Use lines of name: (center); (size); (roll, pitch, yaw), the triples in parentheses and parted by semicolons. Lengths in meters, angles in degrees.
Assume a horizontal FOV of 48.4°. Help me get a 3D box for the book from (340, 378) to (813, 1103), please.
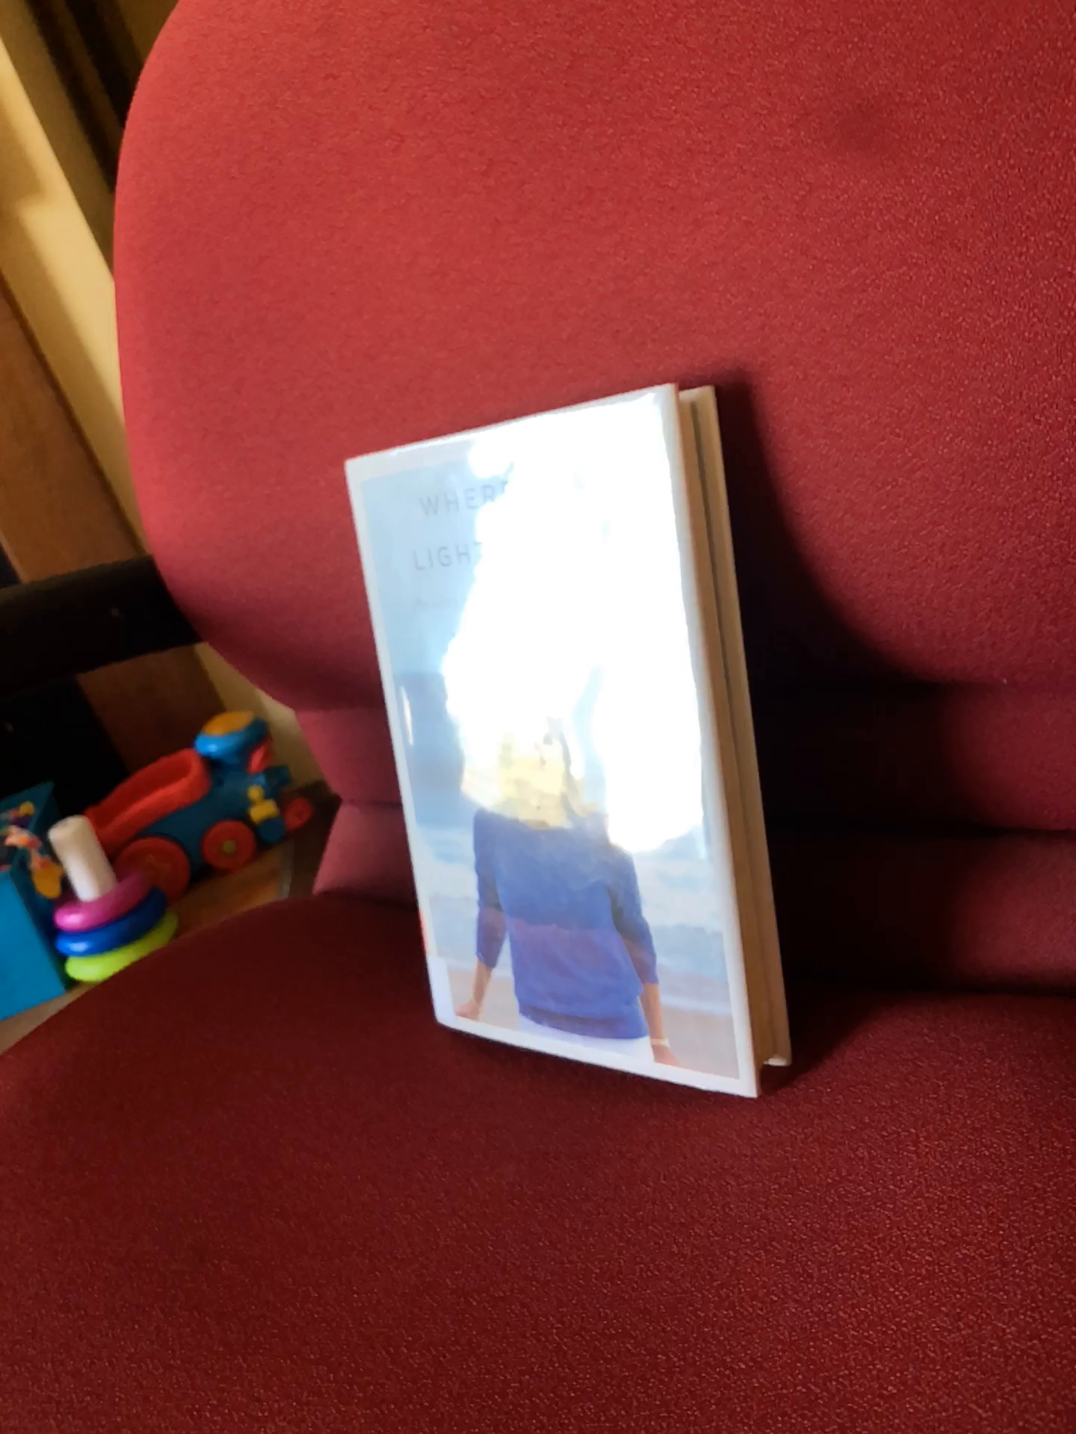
book: (0.008, 0.008, 0.401); (0.150, 0.210, 0.030); (0, 10, 42)
